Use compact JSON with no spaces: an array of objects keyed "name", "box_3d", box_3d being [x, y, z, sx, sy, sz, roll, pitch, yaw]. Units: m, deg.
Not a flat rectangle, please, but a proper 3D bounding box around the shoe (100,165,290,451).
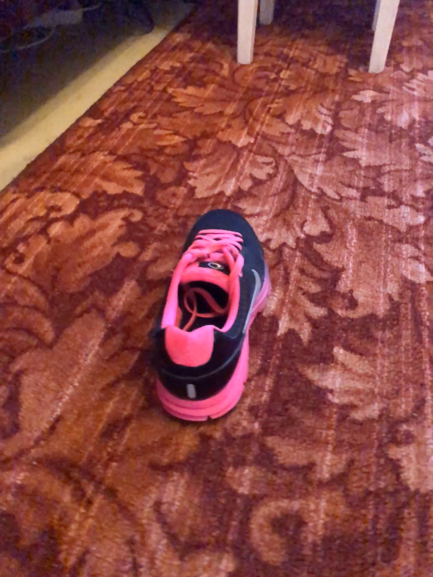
[{"name":"shoe","box_3d":[-0.001,-0.001,0.437,0.110,0.100,0.251,6,45,8]}]
